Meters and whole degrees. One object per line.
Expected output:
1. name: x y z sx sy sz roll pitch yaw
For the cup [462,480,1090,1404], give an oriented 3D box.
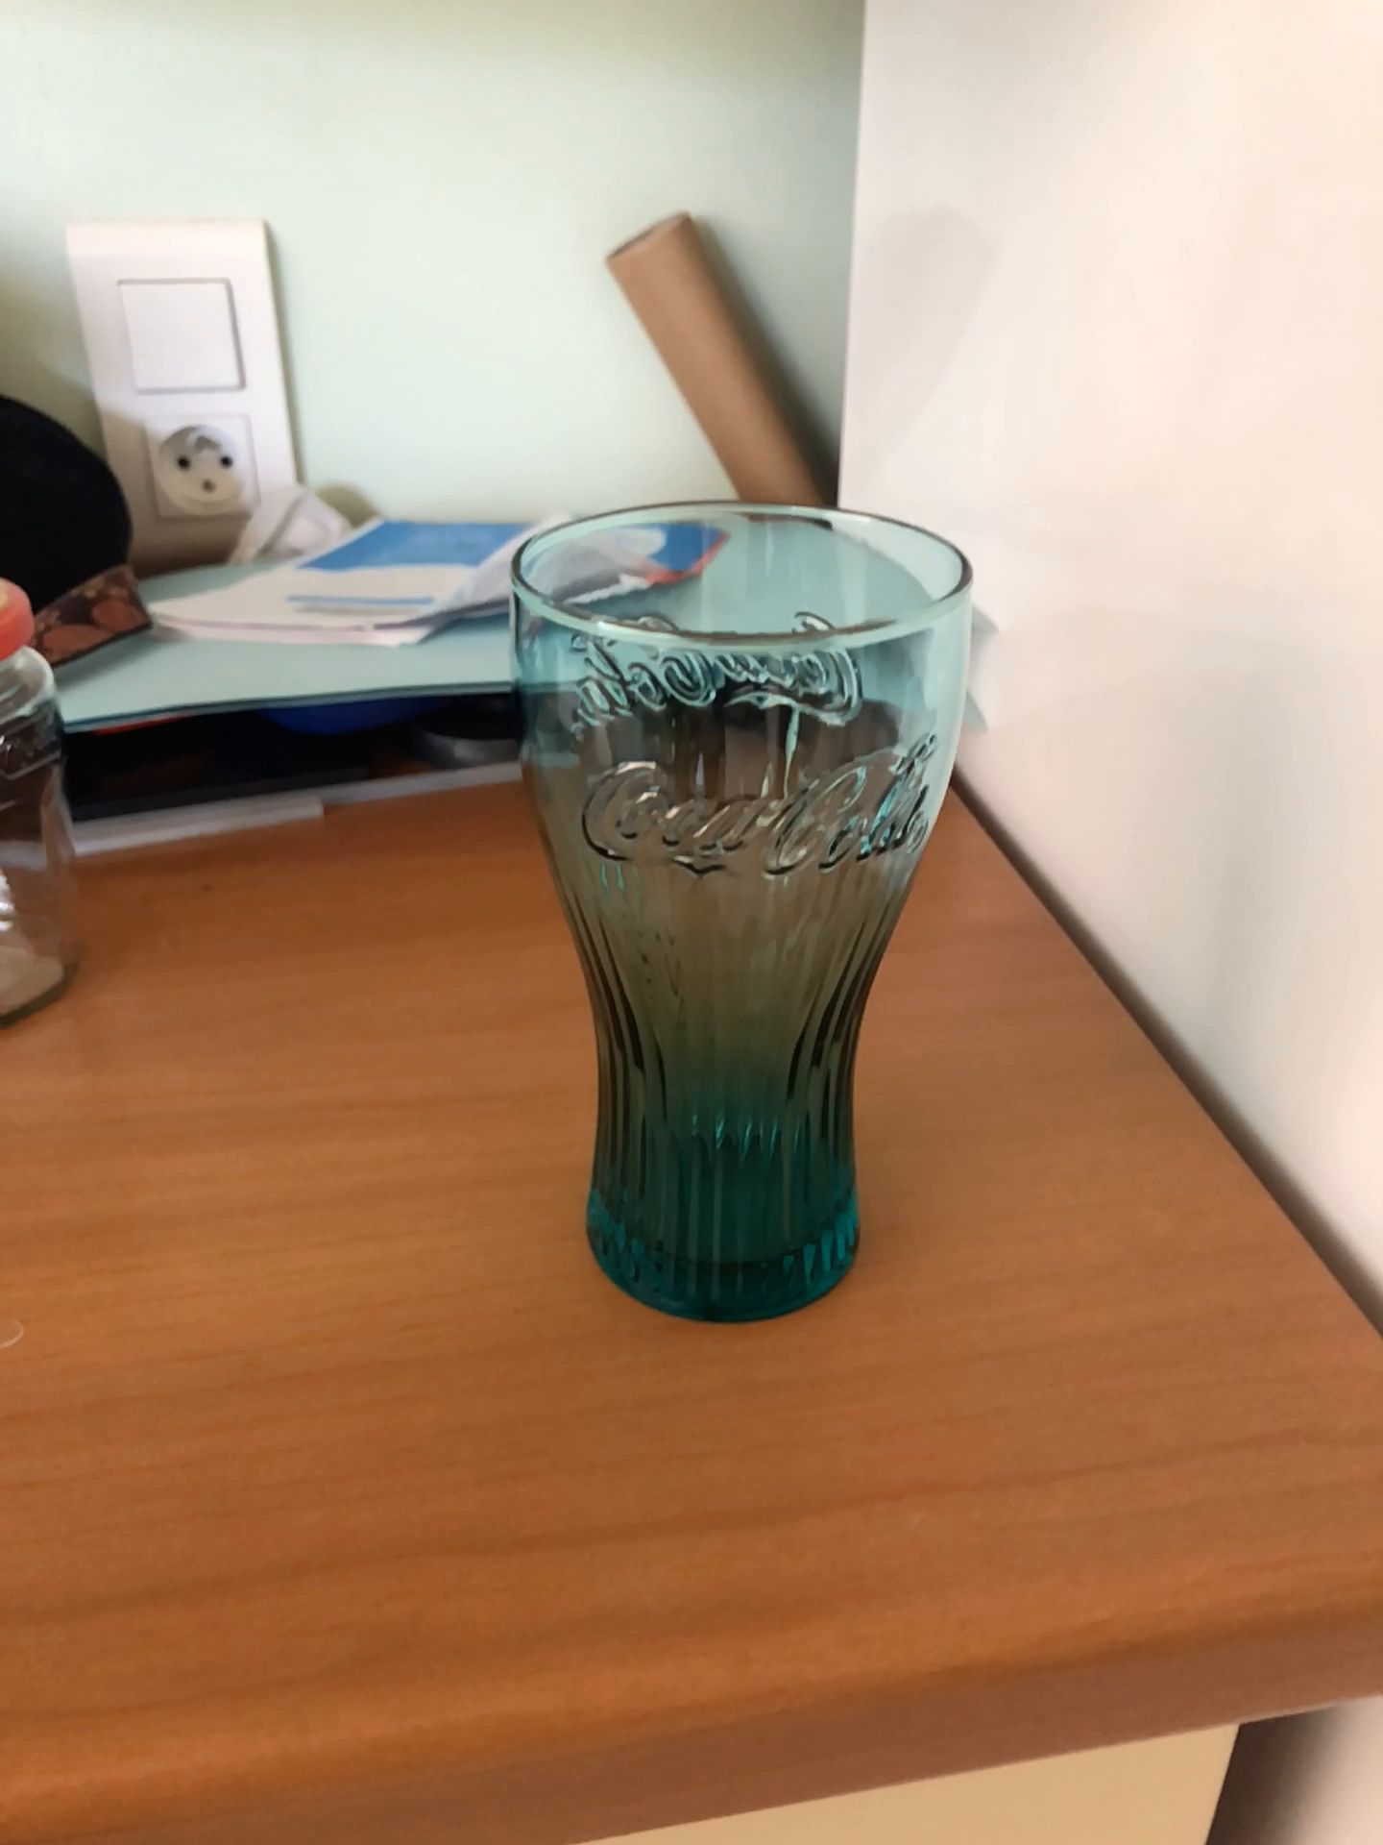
1. cup: 0.008 0.001 0.284 0.080 0.139 0.080 1 29 0
